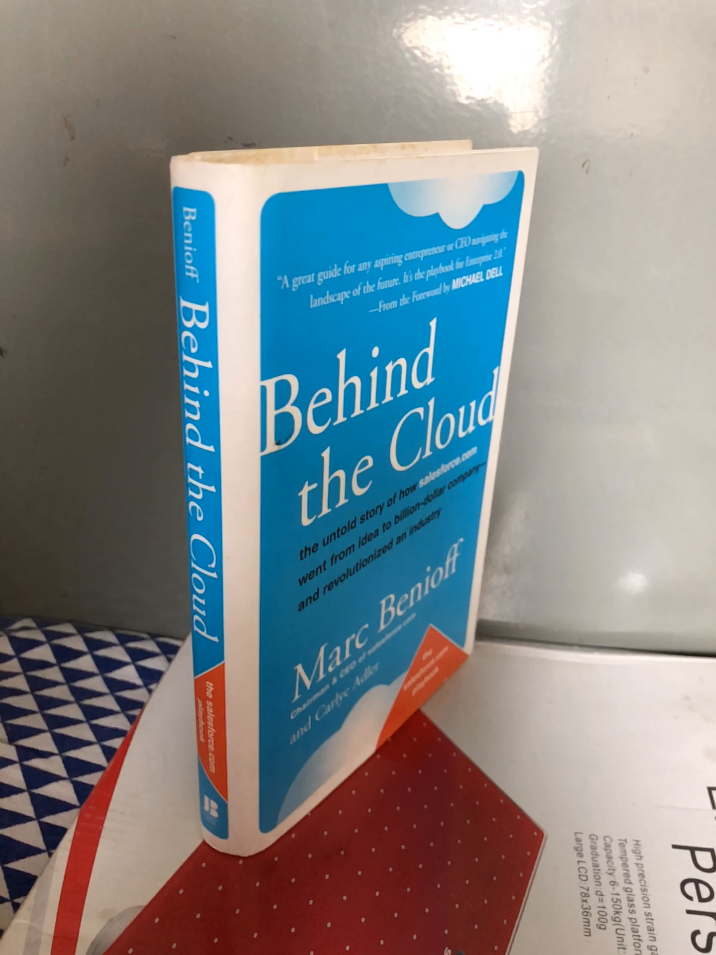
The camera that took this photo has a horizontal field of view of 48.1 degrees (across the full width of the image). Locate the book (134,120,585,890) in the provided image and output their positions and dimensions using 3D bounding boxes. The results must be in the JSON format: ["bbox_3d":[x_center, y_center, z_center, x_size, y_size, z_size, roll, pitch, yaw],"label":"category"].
[{"bbox_3d":[0.012,-0.002,0.309,0.040,0.239,0.191,18,27,34],"label":"book"}]
